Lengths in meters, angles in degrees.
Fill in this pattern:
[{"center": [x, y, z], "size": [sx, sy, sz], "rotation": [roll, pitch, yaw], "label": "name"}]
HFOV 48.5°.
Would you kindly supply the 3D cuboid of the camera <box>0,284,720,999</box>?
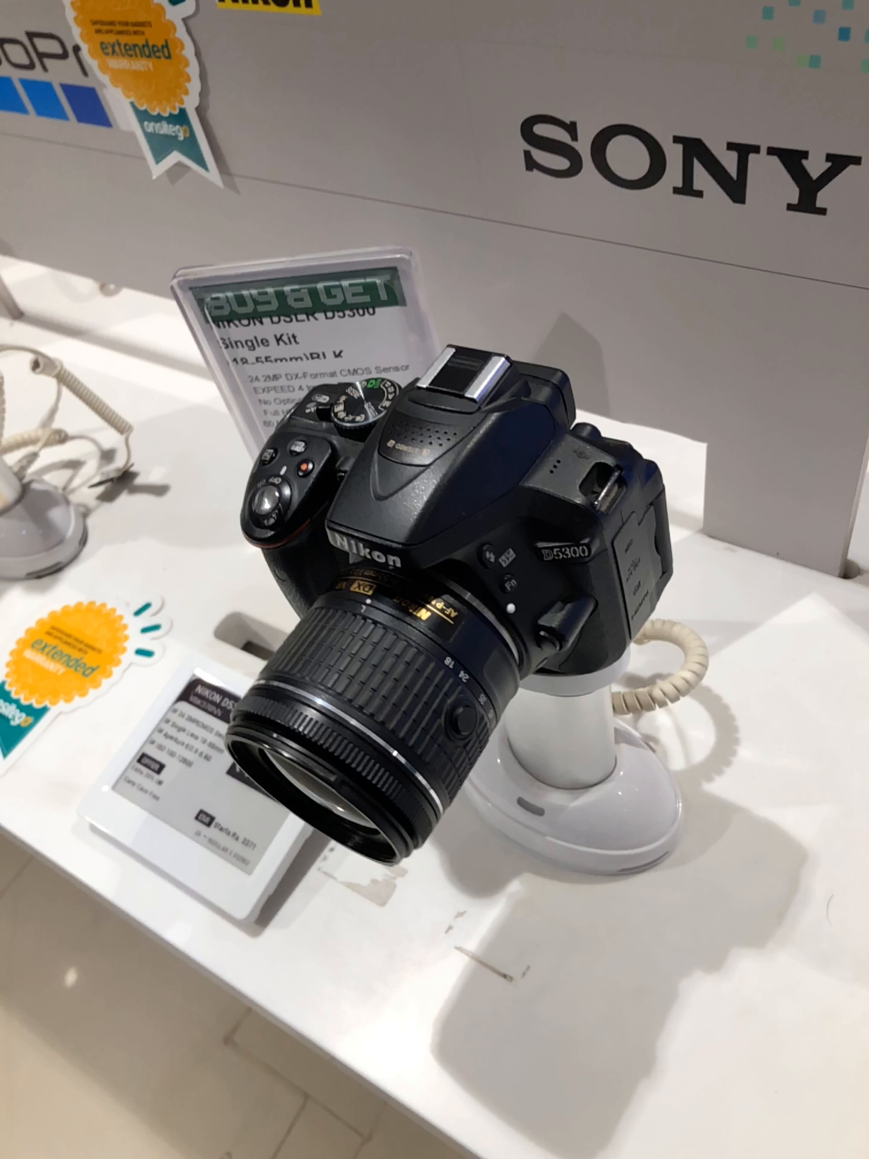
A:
[{"center": [-0.013, 0.007, 0.281], "size": [0.140, 0.099, 0.140], "rotation": [19, 56, 26], "label": "camera"}]
